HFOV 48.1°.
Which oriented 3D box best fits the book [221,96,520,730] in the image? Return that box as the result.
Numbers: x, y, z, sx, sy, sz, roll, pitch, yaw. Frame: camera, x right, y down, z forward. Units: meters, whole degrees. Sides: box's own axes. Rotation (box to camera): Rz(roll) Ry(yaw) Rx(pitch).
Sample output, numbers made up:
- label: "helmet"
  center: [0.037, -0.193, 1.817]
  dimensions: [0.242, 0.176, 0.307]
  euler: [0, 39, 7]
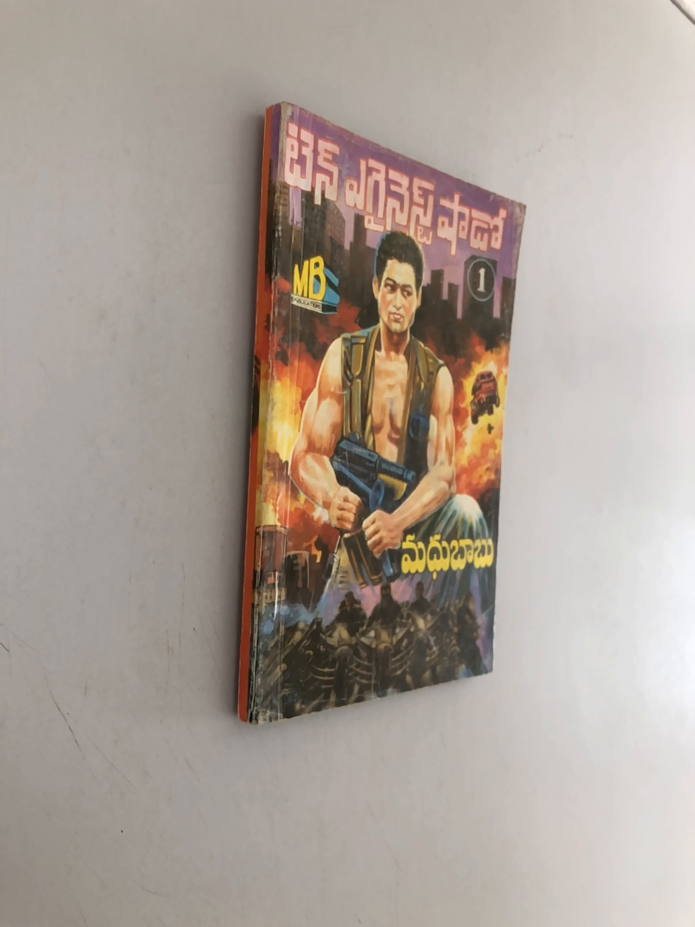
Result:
- label: "book"
  center: [0.012, -0.011, 0.222]
  dimensions: [0.100, 0.010, 0.151]
  euler: [2, 89, -41]
